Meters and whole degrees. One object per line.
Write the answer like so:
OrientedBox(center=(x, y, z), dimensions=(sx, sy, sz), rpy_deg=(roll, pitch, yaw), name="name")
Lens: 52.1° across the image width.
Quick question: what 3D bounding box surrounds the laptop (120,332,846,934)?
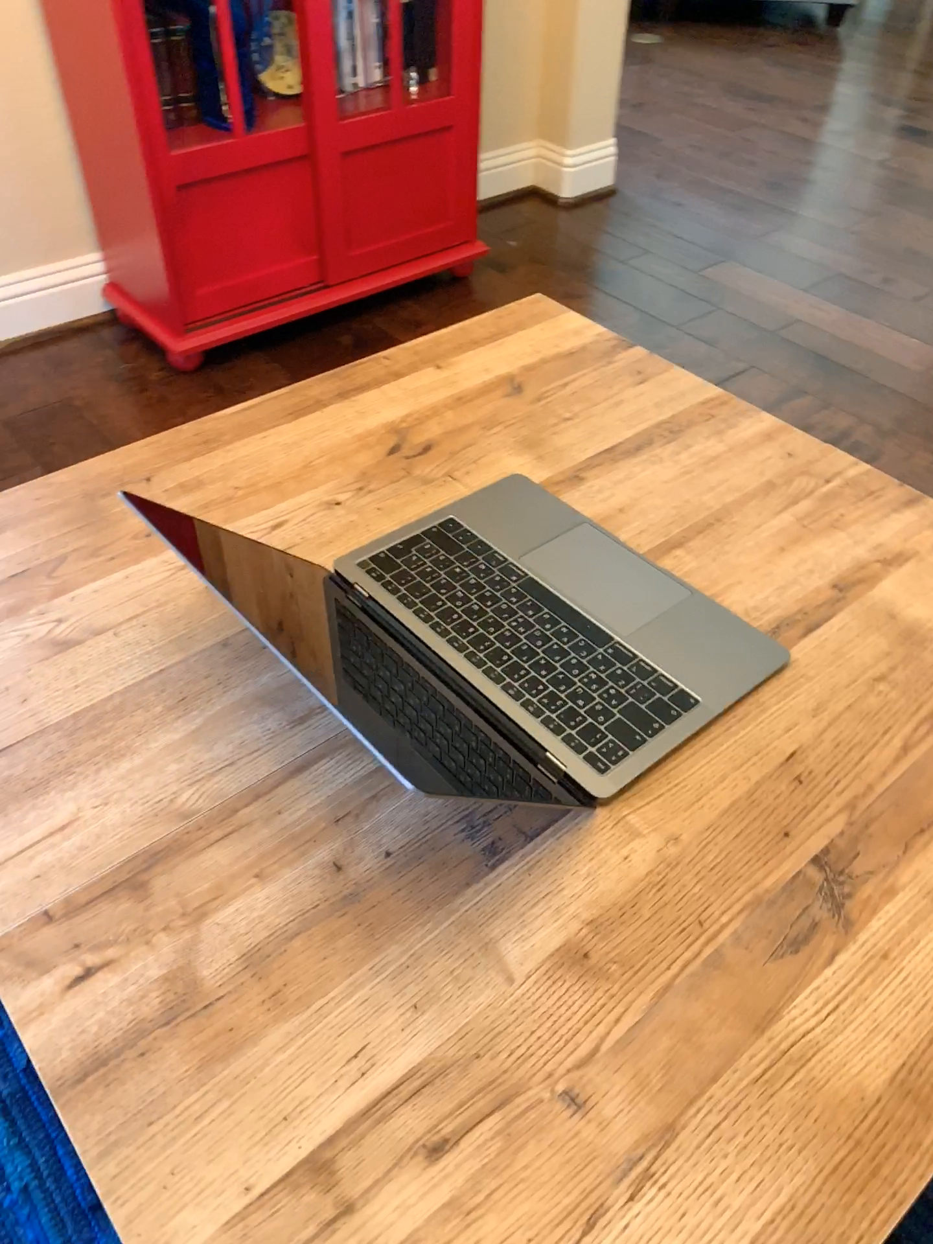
OrientedBox(center=(0.012, -0.028, 0.653), dimensions=(0.353, 0.141, 0.291), rpy_deg=(-29, 52, -29), name="laptop")
